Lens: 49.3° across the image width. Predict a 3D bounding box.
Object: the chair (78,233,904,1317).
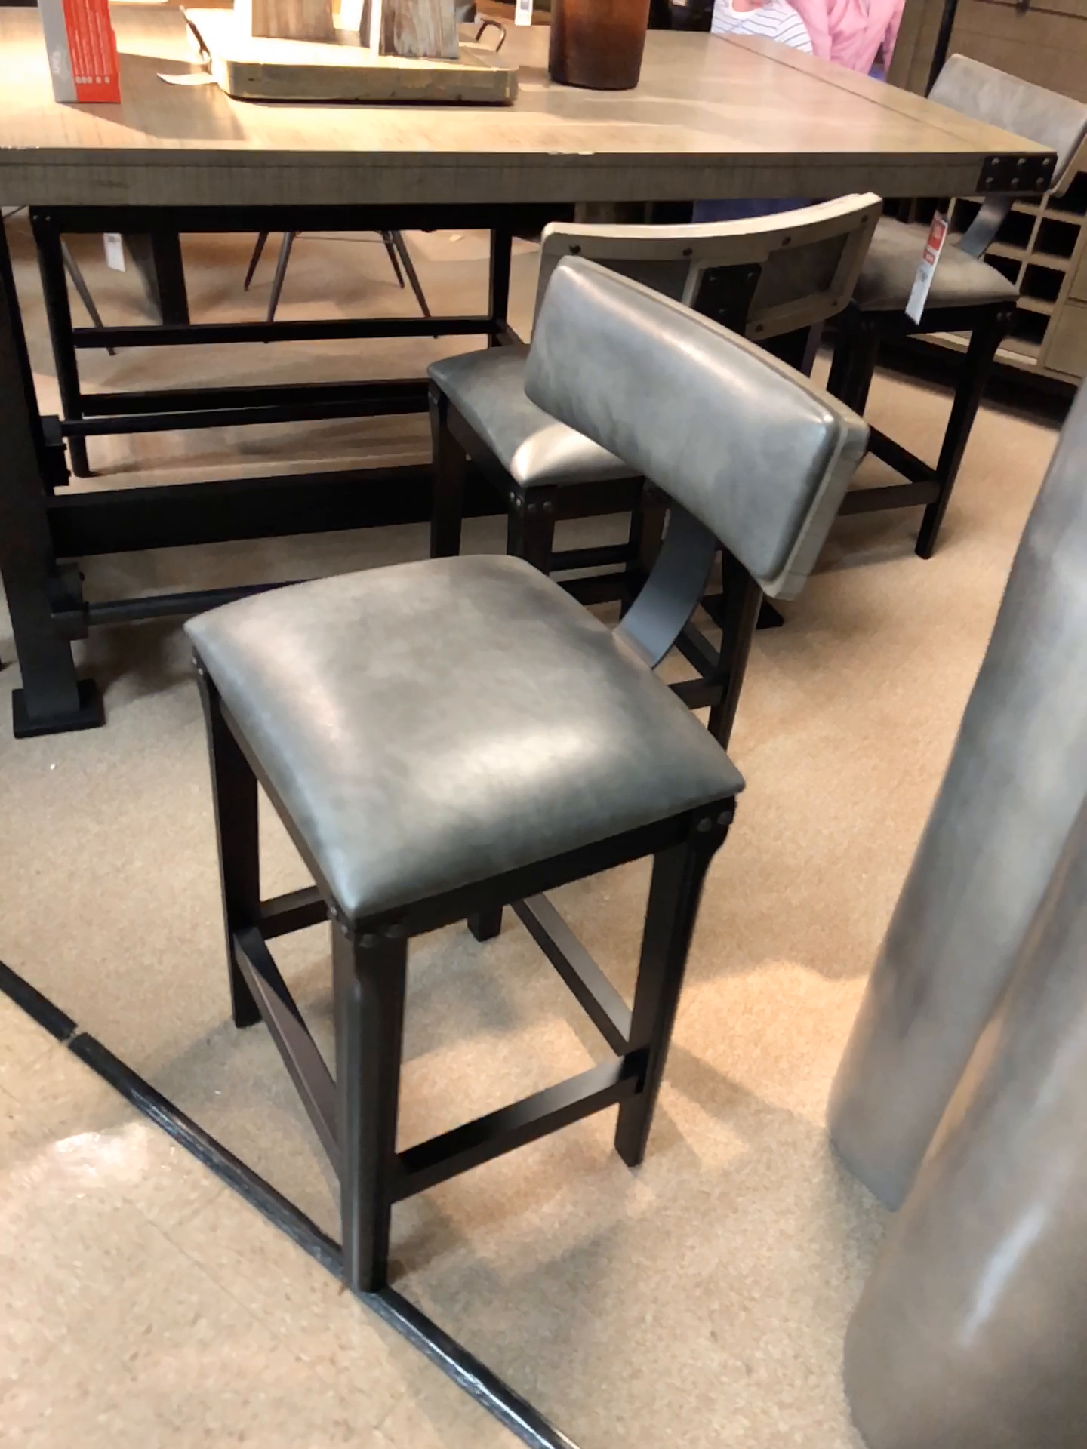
[{"bbox_3d":[-0.087,0.058,1.145,0.461,0.864,0.443,-17,43,-26],"label":"chair"}]
